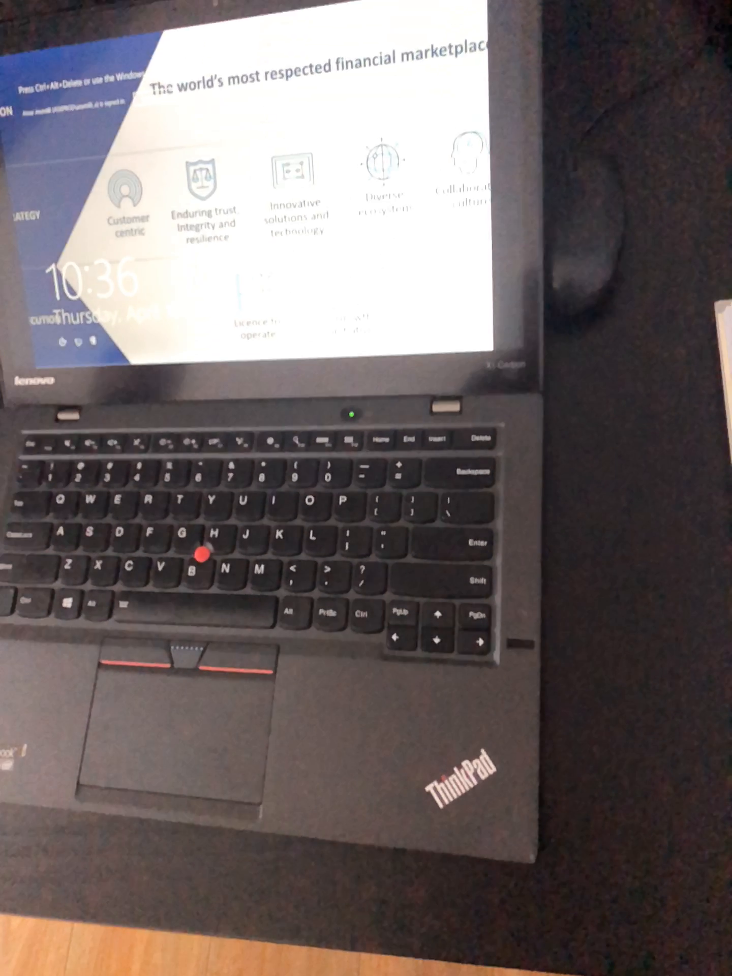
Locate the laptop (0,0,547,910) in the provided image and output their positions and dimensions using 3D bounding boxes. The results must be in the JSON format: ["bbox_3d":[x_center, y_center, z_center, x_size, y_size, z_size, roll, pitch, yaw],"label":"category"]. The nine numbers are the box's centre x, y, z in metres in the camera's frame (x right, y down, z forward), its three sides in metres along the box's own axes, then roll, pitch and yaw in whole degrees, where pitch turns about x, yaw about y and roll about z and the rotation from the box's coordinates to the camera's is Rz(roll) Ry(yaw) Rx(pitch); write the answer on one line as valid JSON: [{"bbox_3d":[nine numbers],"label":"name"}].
[{"bbox_3d":[-0.082,-0.045,0.391,0.323,0.117,0.388,1,72,14],"label":"laptop"}]
